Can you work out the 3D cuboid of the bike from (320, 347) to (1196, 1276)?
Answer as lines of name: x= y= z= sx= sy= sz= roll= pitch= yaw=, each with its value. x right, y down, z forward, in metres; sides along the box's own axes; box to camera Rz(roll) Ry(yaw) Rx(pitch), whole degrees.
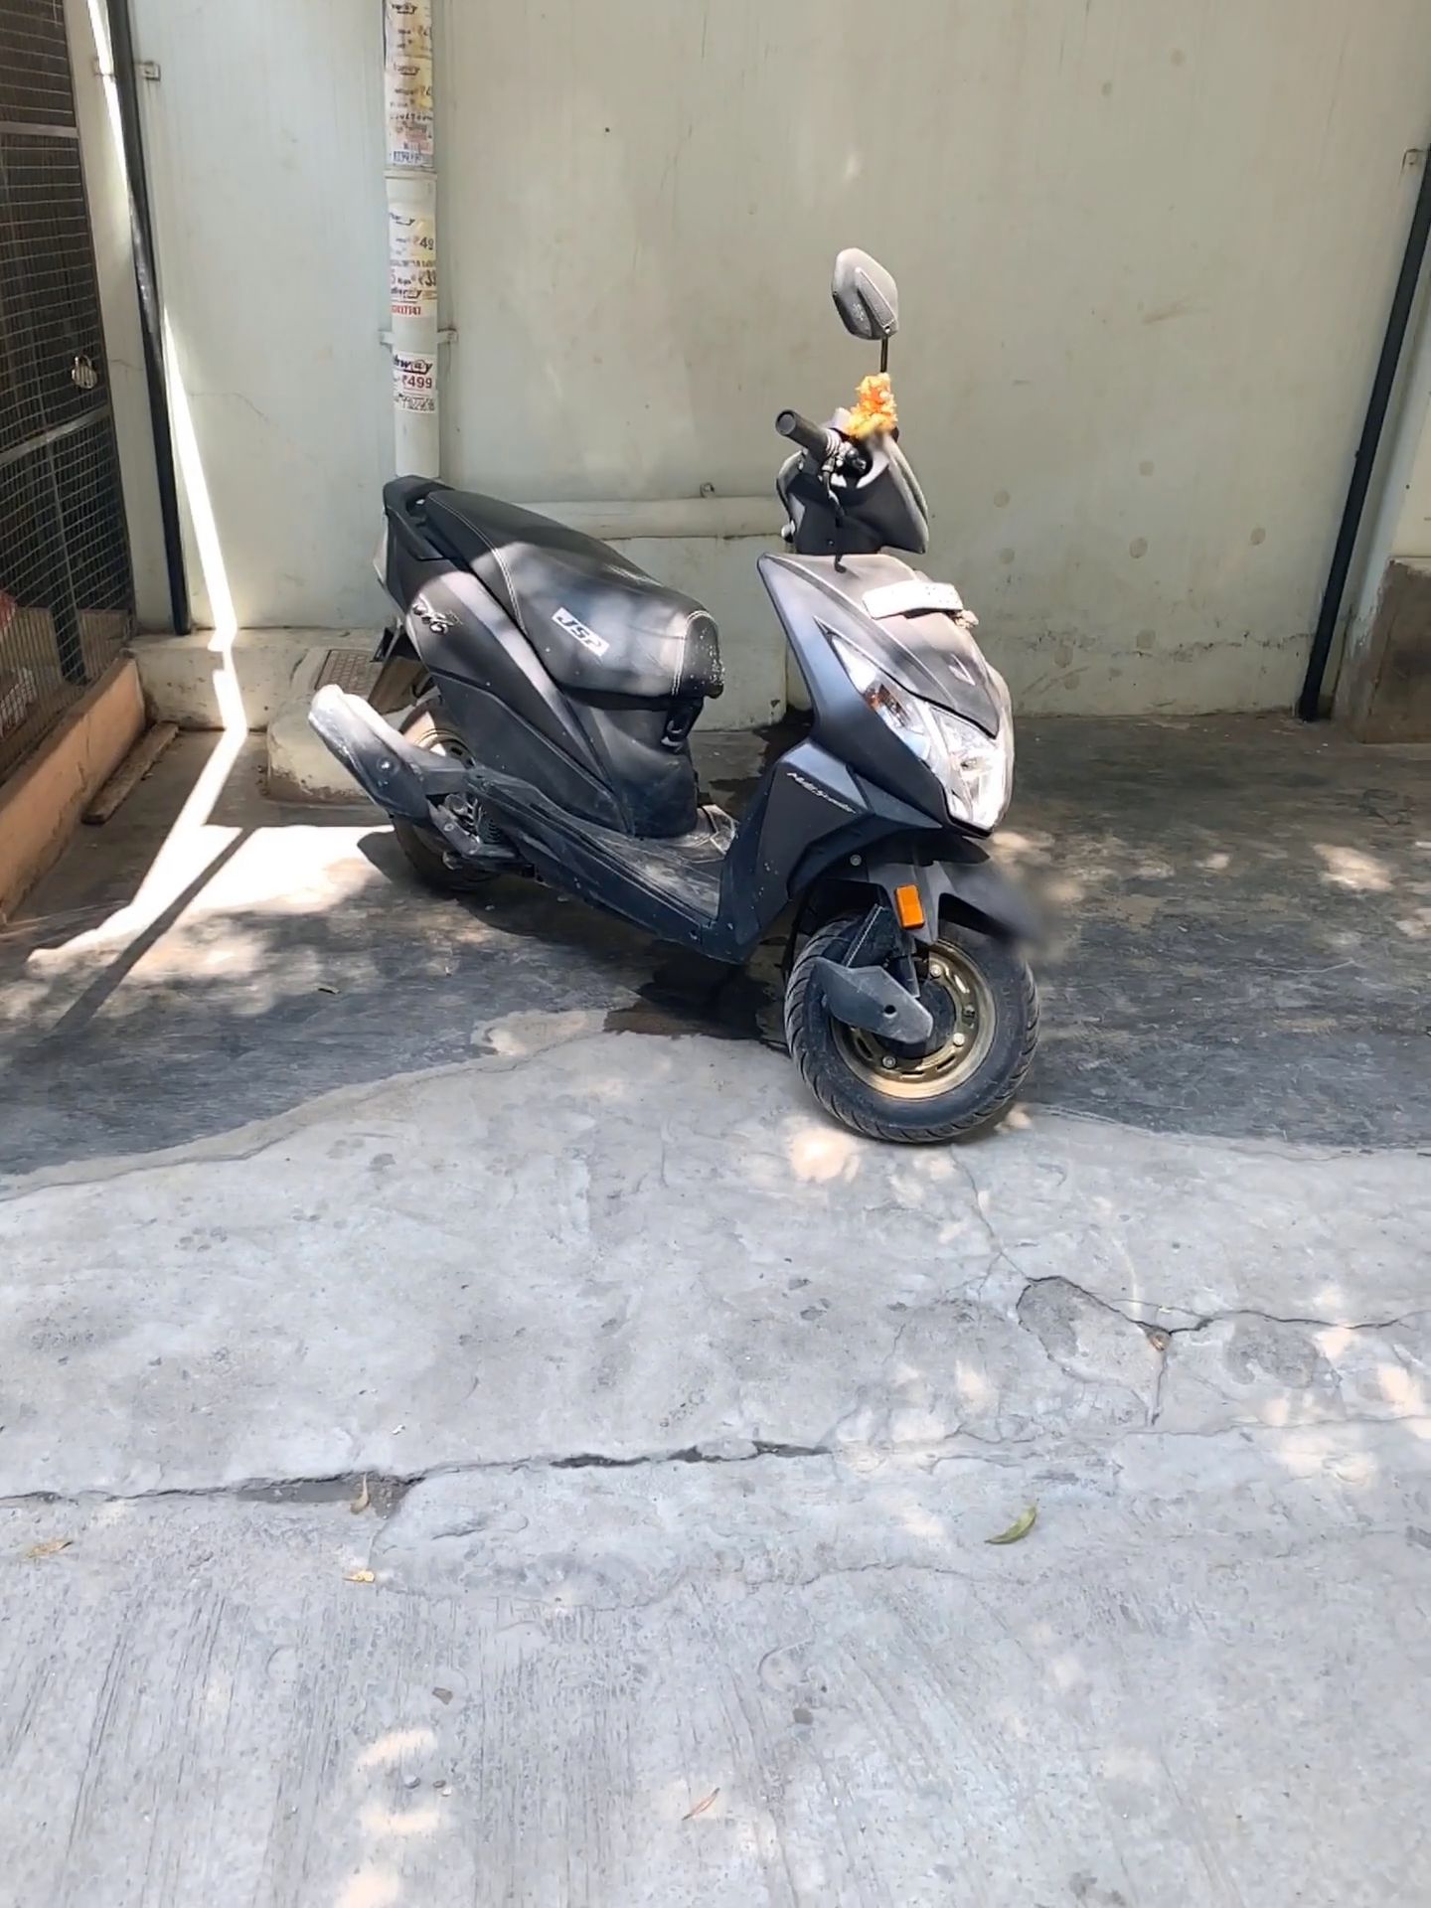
bike: x=-0.023 y=-0.364 z=2.829 sx=1.512 sy=1.277 sz=0.504 roll=24 pitch=33 yaw=32
